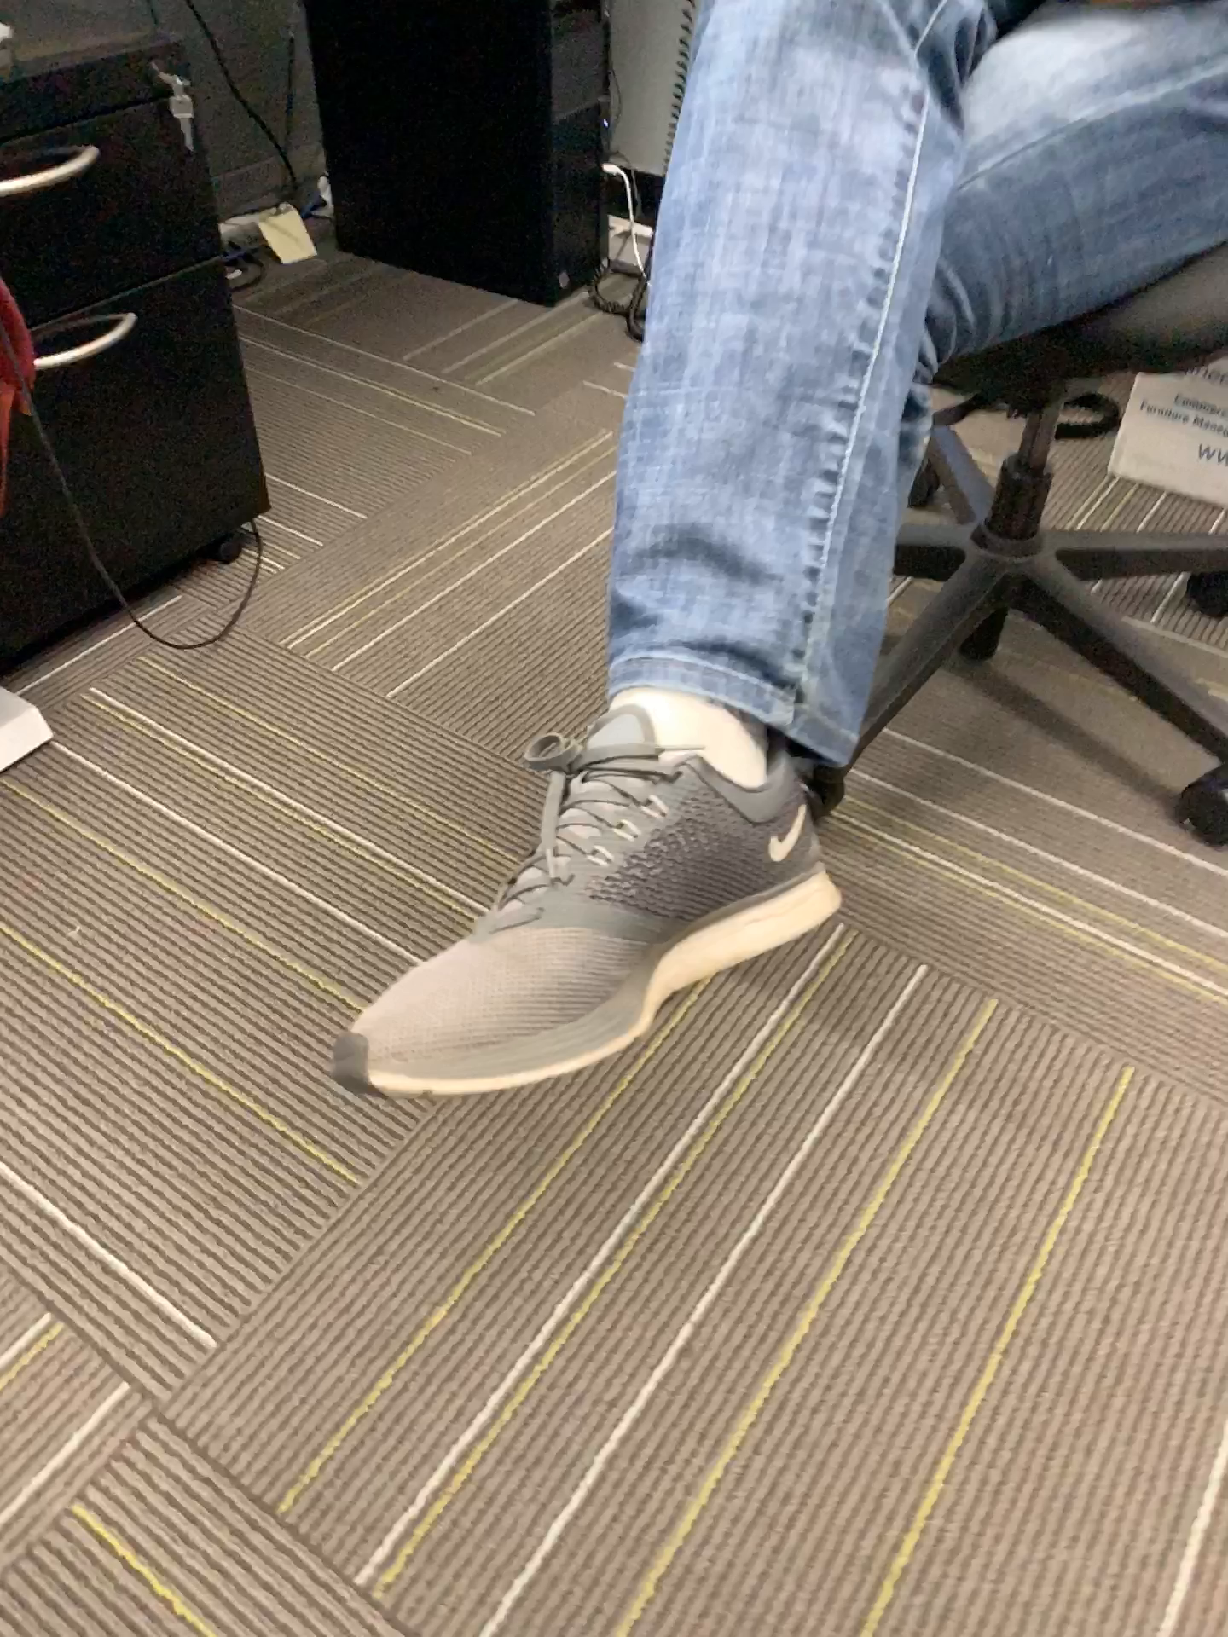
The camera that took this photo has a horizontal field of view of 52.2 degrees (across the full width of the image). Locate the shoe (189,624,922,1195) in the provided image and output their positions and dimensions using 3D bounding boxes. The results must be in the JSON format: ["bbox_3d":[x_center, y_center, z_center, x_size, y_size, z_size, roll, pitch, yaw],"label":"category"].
[{"bbox_3d":[-0.015,0.028,0.584,0.295,0.143,0.122,-24,8,-35],"label":"shoe"}]

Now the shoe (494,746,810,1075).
[{"bbox_3d":[0.036,0.065,1.028,0.120,0.085,0.270,28,49,24],"label":"shoe"}]
